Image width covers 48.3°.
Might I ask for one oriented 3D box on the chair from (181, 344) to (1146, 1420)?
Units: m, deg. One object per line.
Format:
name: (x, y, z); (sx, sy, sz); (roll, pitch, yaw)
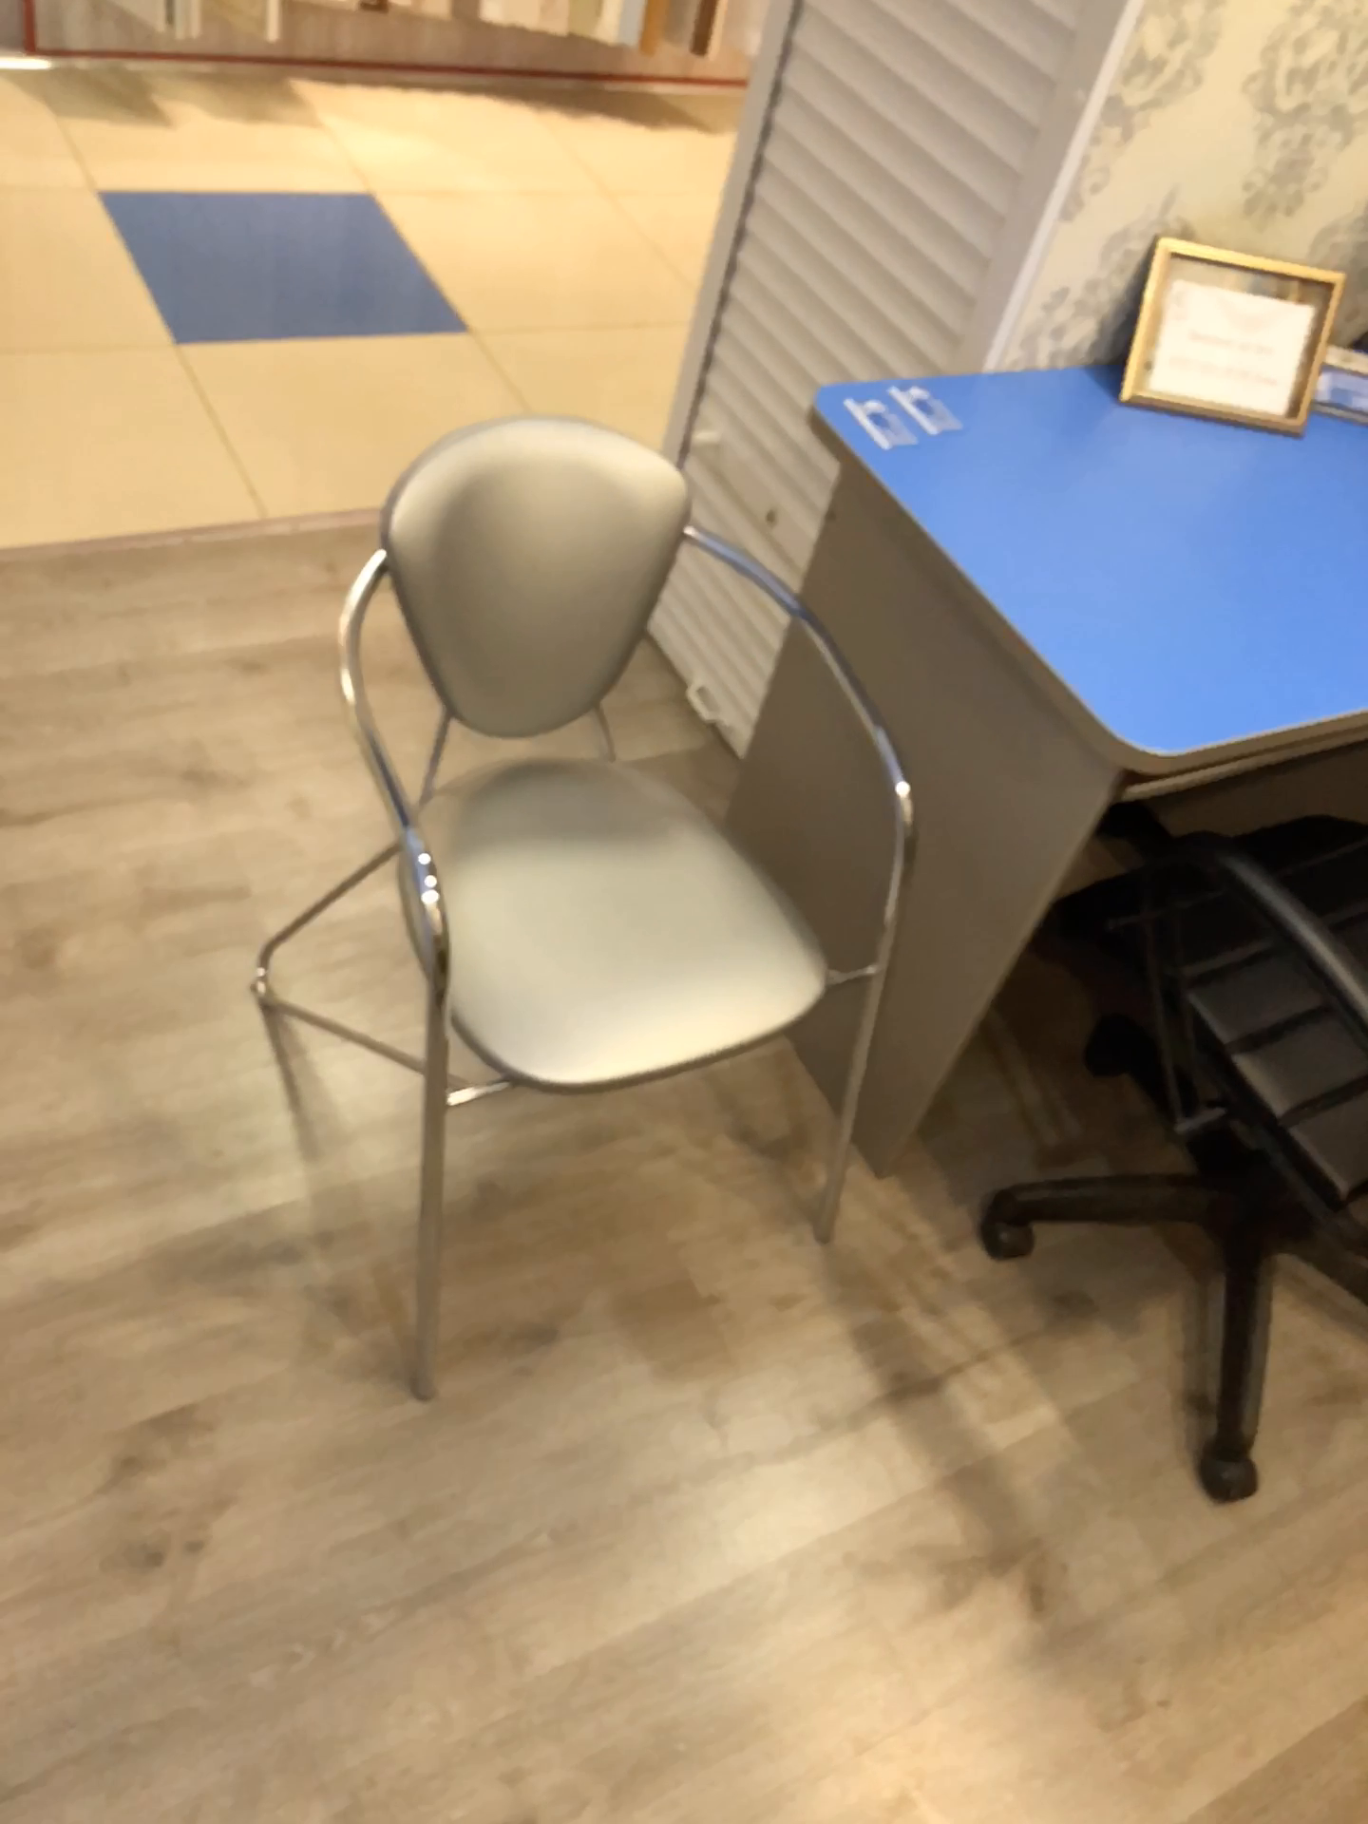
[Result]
chair: (-0.113, -0.056, 1.640); (0.611, 0.747, 0.732); (-16, 54, -29)
